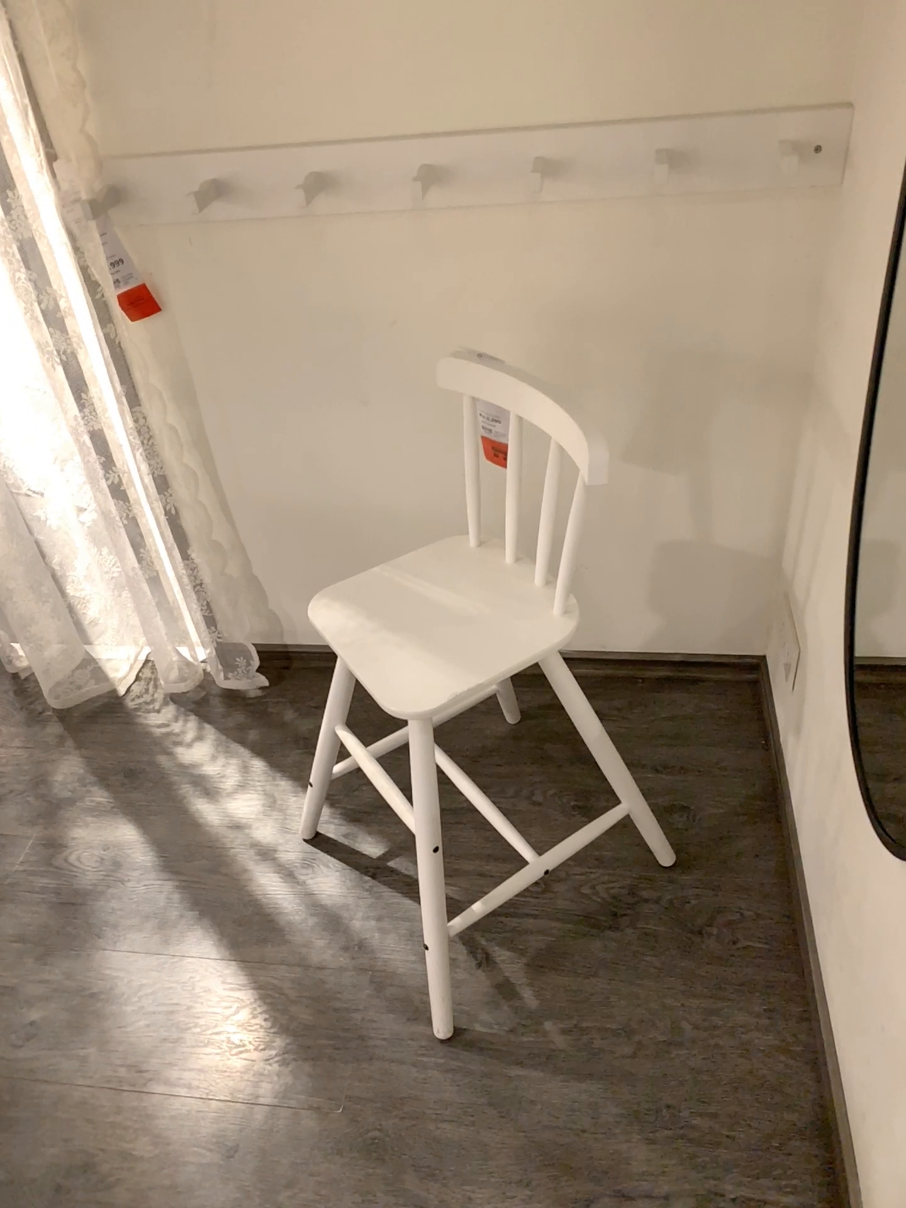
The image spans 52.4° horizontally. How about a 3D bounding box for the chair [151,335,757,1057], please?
[{"bbox_3d":[0.013,0.103,1.190,0.480,0.657,0.452,-27,43,-23],"label":"chair"}]
